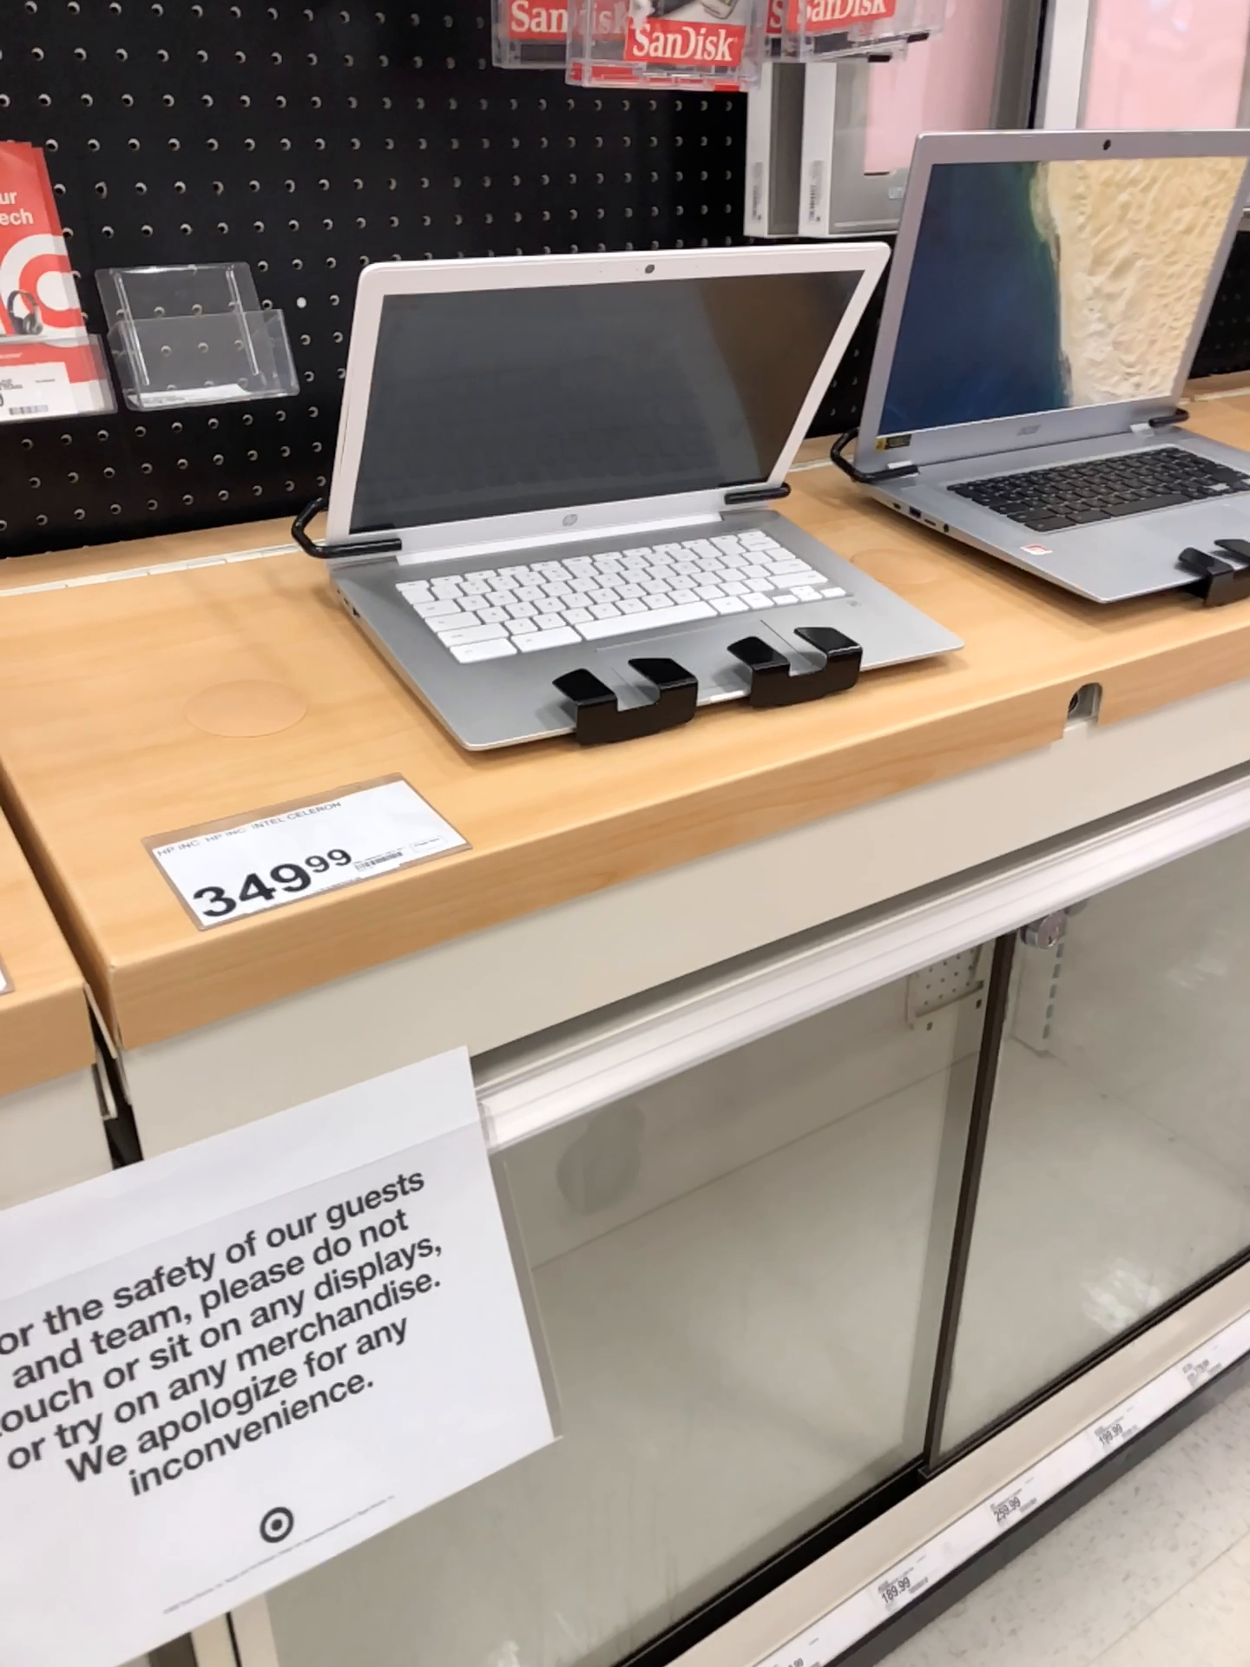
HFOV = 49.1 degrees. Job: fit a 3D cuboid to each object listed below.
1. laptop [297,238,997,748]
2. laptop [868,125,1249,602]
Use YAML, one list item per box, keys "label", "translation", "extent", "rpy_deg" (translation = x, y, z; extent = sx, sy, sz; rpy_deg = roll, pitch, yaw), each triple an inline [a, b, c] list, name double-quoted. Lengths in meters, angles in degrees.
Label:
- label: "laptop"
  translation: [0.013, -0.213, 0.785]
  extent: [0.322, 0.172, 0.201]
  rpy_deg: [-14, 37, -26]
- label: "laptop"
  translation: [0.381, -0.348, 0.967]
  extent: [0.321, 0.231, 0.231]
  rpy_deg: [-16, 34, -25]
